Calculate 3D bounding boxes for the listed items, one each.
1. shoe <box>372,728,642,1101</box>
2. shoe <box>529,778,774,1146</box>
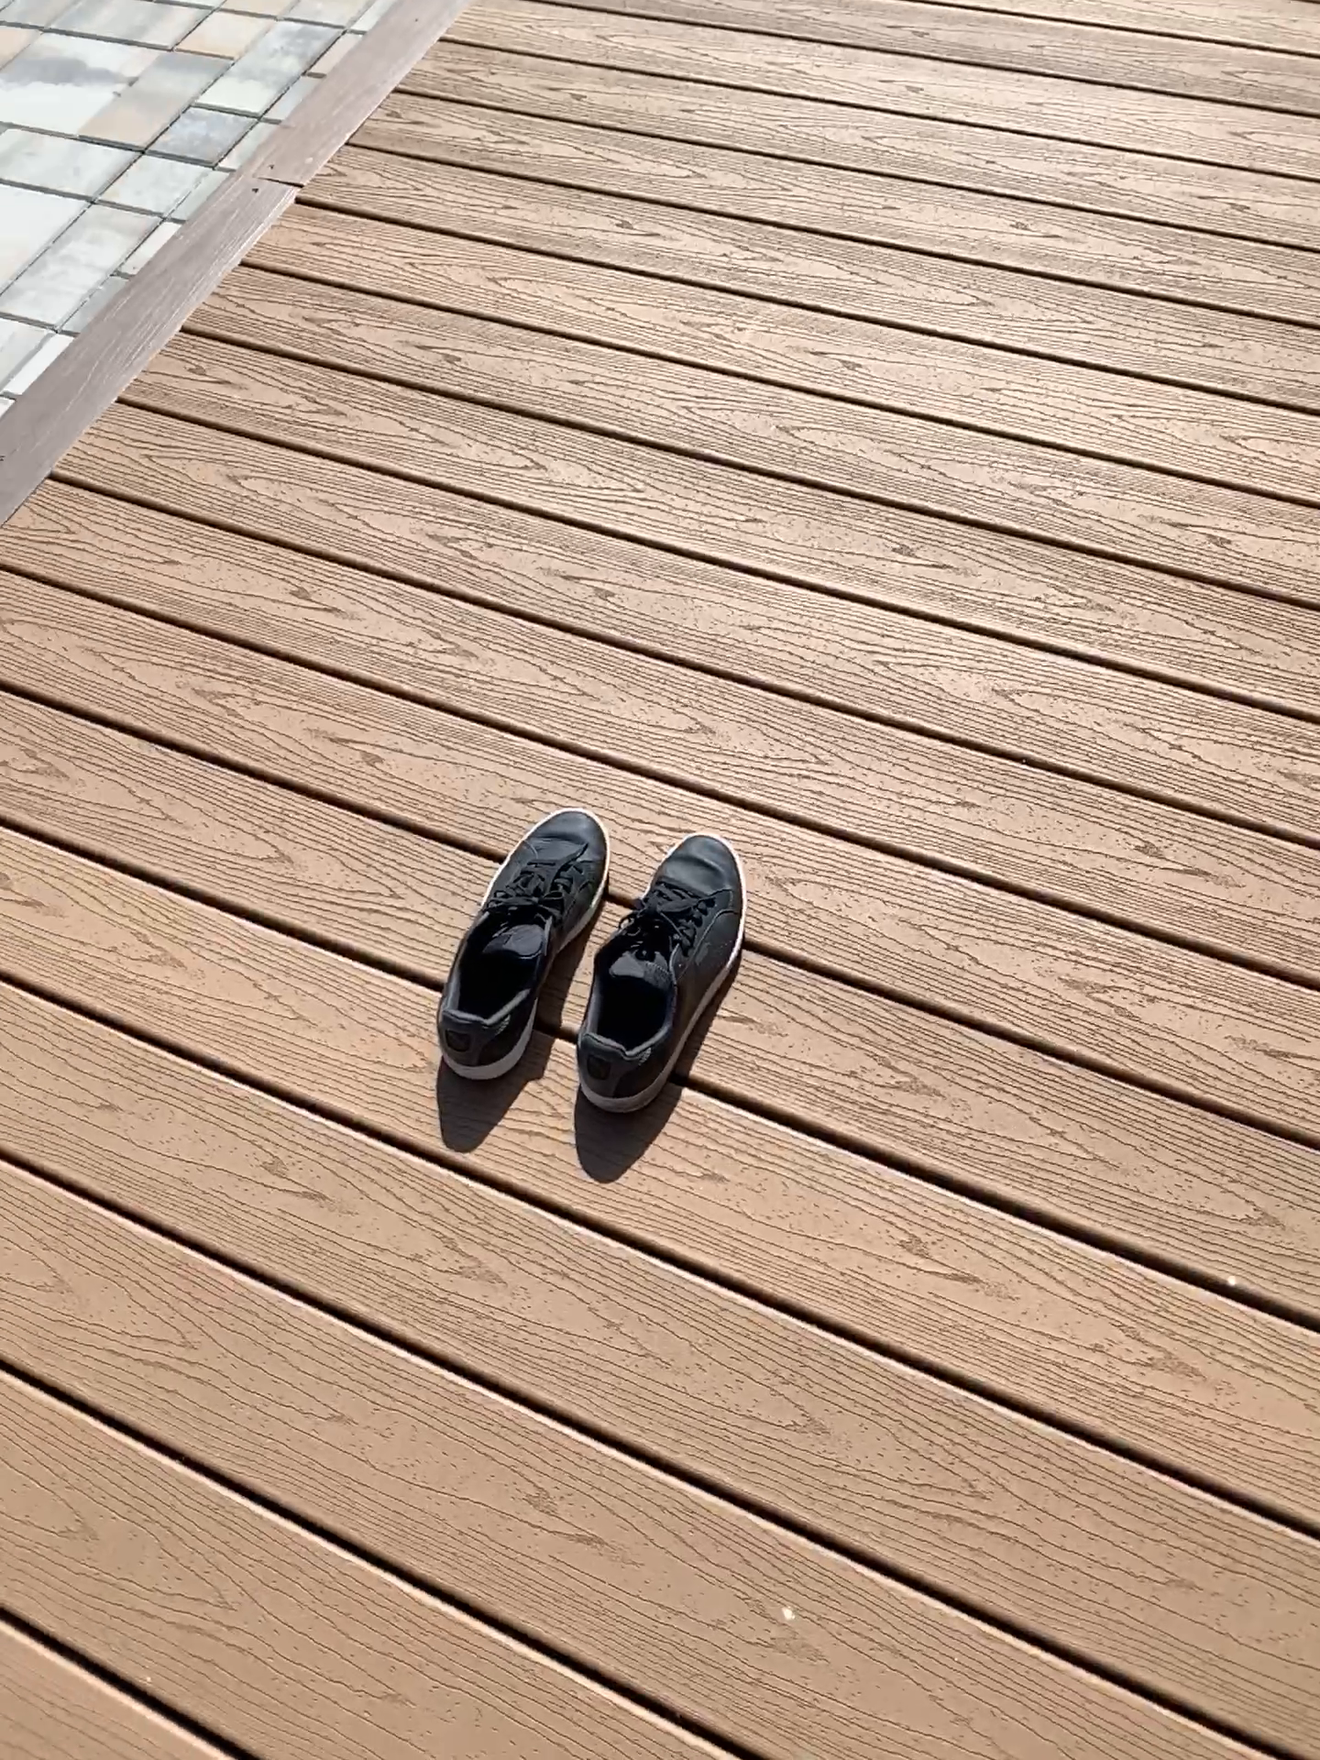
[{"bbox_3d":[-0.126,0.026,1.194,0.112,0.107,0.300,15,62,14],"label":"shoe"},{"bbox_3d":[0.002,0.066,1.150,0.110,0.104,0.280,15,62,14],"label":"shoe"}]
